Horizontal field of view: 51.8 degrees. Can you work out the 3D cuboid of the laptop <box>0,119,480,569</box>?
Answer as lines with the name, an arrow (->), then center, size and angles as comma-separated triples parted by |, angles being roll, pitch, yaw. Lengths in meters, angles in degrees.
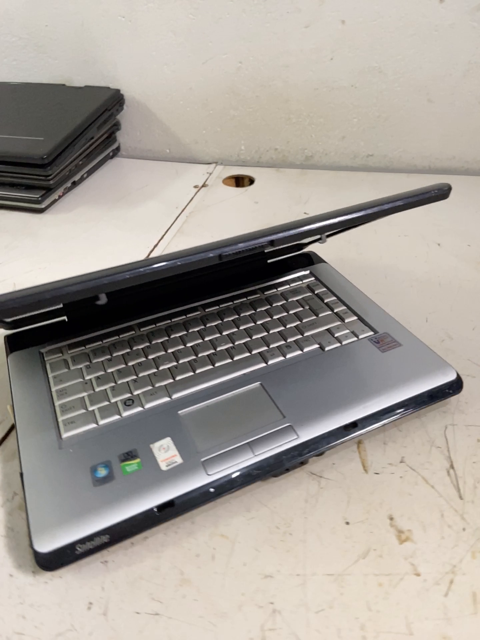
laptop -> -0.022, -0.027, 0.406 | 0.346, 0.152, 0.259 | -17, 40, -18
